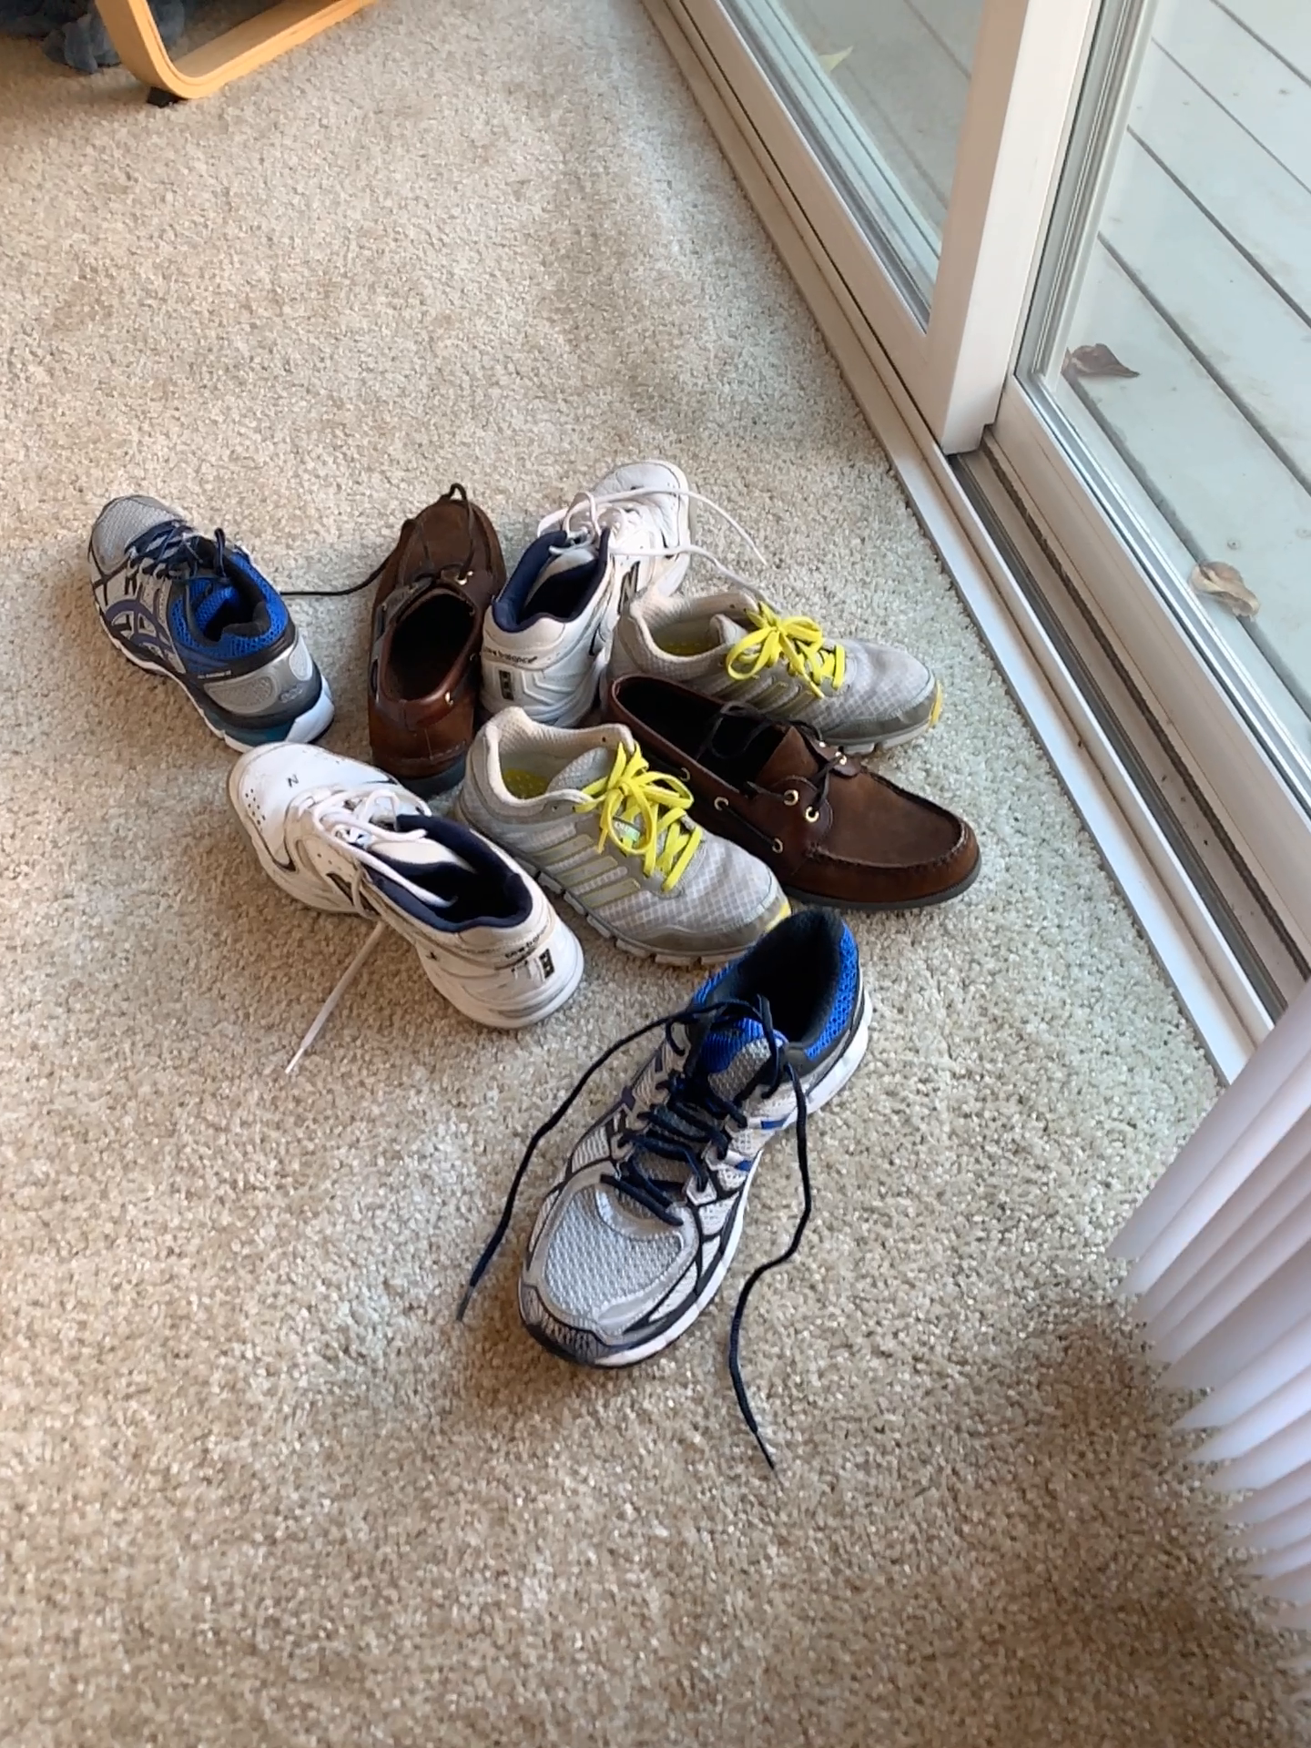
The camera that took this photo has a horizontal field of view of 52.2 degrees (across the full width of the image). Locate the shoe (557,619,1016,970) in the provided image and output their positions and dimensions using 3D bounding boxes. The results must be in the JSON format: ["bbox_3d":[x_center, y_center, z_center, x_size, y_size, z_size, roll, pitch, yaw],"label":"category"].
[{"bbox_3d":[0.080,-0.057,0.889,0.281,0.080,0.100,27,58,18],"label":"shoe"}]

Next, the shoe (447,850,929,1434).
[{"bbox_3d":[0.027,0.140,0.747,0.110,0.110,0.291,29,59,20],"label":"shoe"}]

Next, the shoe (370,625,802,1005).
[{"bbox_3d":[-0.044,-0.040,0.813,0.241,0.090,0.100,31,59,20],"label":"shoe"}]

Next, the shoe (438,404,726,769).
[{"bbox_3d":[-0.047,-0.223,1.007,0.100,0.110,0.271,19,54,14],"label":"shoe"}]

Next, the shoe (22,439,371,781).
[{"bbox_3d":[-0.341,-0.202,0.991,0.110,0.090,0.271,-35,59,-23],"label":"shoe"}]

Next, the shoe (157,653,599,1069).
[{"bbox_3d":[-0.173,-0.013,0.842,0.281,0.110,0.090,33,60,23],"label":"shoe"}]

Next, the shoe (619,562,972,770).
[{"bbox_3d":[0.097,-0.146,0.934,0.230,0.060,0.100,9,53,5],"label":"shoe"}]

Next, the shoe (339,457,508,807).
[{"bbox_3d":[-0.170,-0.191,1.027,0.100,0.110,0.271,-2,52,-2],"label":"shoe"}]
